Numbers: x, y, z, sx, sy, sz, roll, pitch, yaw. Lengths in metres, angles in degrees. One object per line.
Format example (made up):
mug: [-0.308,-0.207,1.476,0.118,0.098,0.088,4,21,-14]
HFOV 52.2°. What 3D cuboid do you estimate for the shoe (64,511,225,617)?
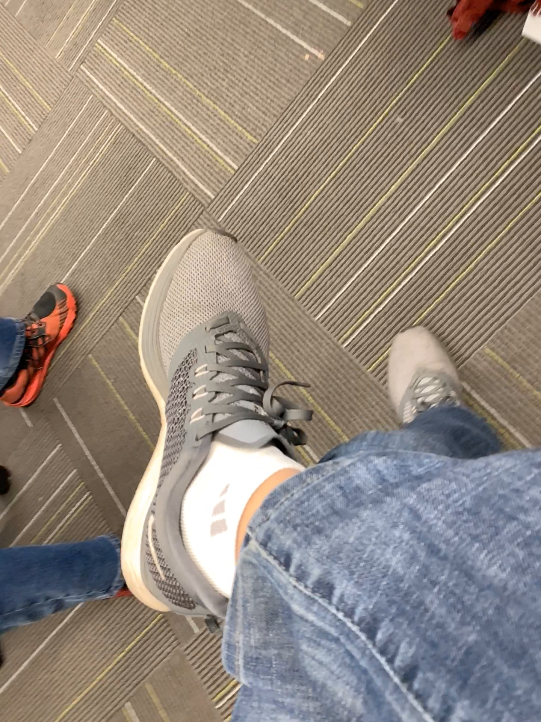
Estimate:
shoe: [-0.247,0.396,1.078,0.277,0.116,0.112,-24,63,15]

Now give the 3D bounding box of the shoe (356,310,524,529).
shoe: [0.250,0.084,0.833,0.117,0.074,0.293,-29,70,21]

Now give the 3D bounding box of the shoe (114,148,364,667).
shoe: [-0.028,0.031,0.400,0.142,0.115,0.294,-21,65,59]

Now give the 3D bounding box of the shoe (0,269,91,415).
shoe: [-0.539,-0.044,1.252,0.113,0.108,0.294,23,87,48]
